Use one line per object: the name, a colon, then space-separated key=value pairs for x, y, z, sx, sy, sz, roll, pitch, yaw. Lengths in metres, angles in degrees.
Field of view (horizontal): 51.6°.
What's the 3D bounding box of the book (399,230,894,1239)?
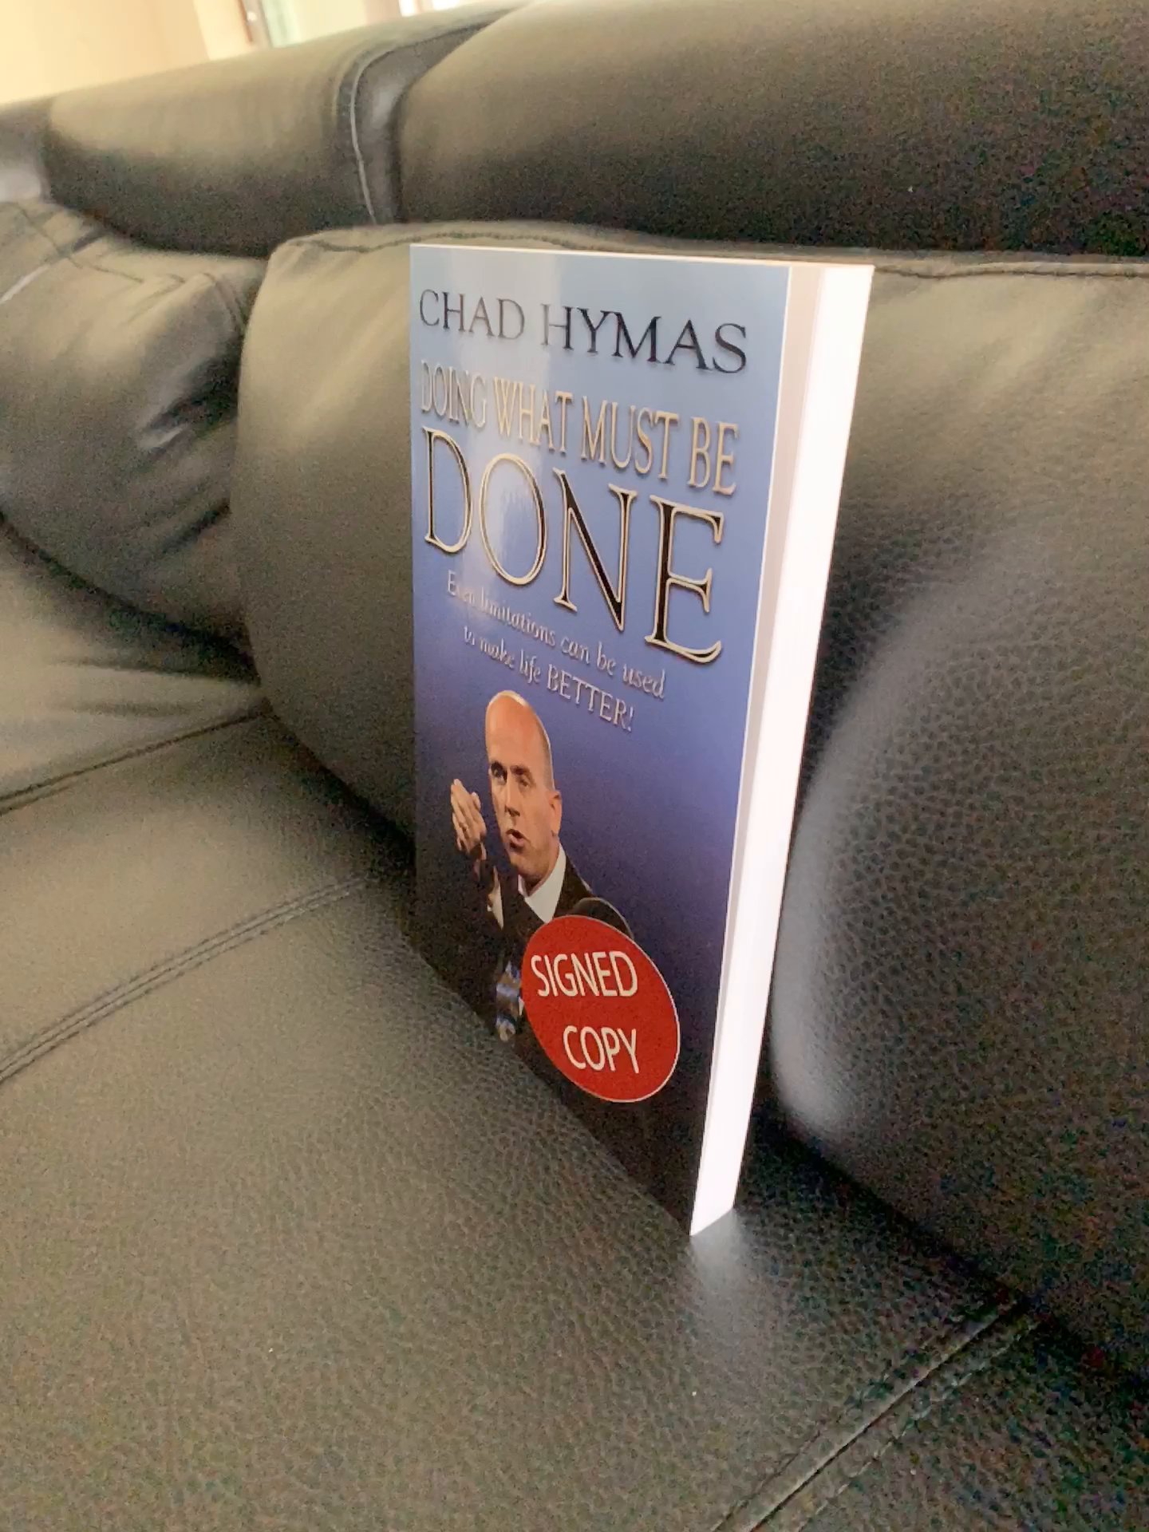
book: x=-0.001 y=-0.018 z=0.319 sx=0.025 sy=0.225 sz=0.158 roll=-10 pitch=27 yaw=-31
